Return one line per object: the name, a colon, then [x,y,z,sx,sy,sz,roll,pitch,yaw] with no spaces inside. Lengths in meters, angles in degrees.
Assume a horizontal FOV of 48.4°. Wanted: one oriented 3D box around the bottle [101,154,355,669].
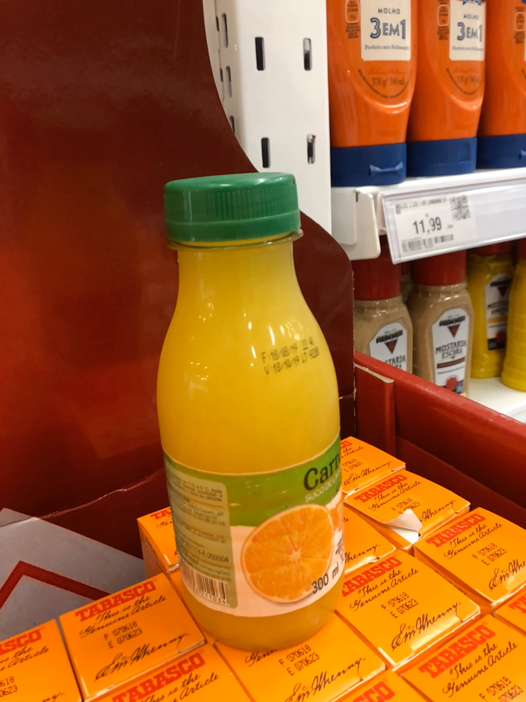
bottle: [-0.003,0.016,0.193,0.050,0.149,0.060,3,20,21]
